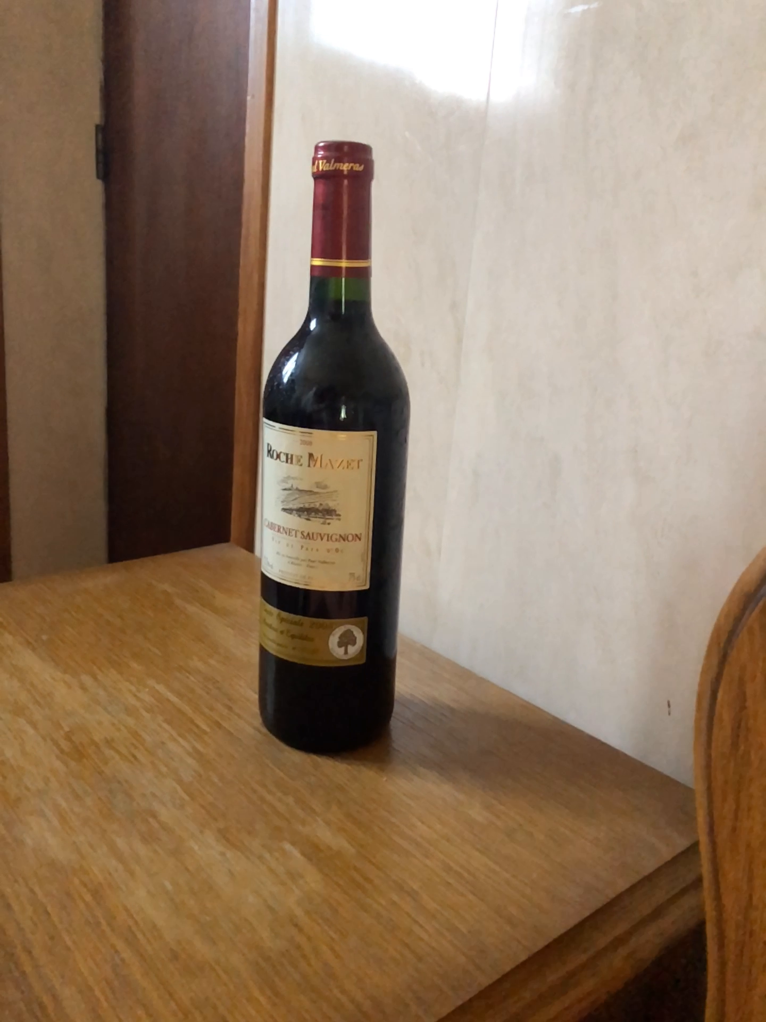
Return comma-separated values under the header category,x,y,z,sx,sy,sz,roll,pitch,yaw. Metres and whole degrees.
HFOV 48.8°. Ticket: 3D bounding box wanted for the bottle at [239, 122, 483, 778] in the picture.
category,x,y,z,sx,sy,sz,roll,pitch,yaw
bottle,-0.013,-0.027,0.428,0.080,0.299,0.080,4,15,-1
